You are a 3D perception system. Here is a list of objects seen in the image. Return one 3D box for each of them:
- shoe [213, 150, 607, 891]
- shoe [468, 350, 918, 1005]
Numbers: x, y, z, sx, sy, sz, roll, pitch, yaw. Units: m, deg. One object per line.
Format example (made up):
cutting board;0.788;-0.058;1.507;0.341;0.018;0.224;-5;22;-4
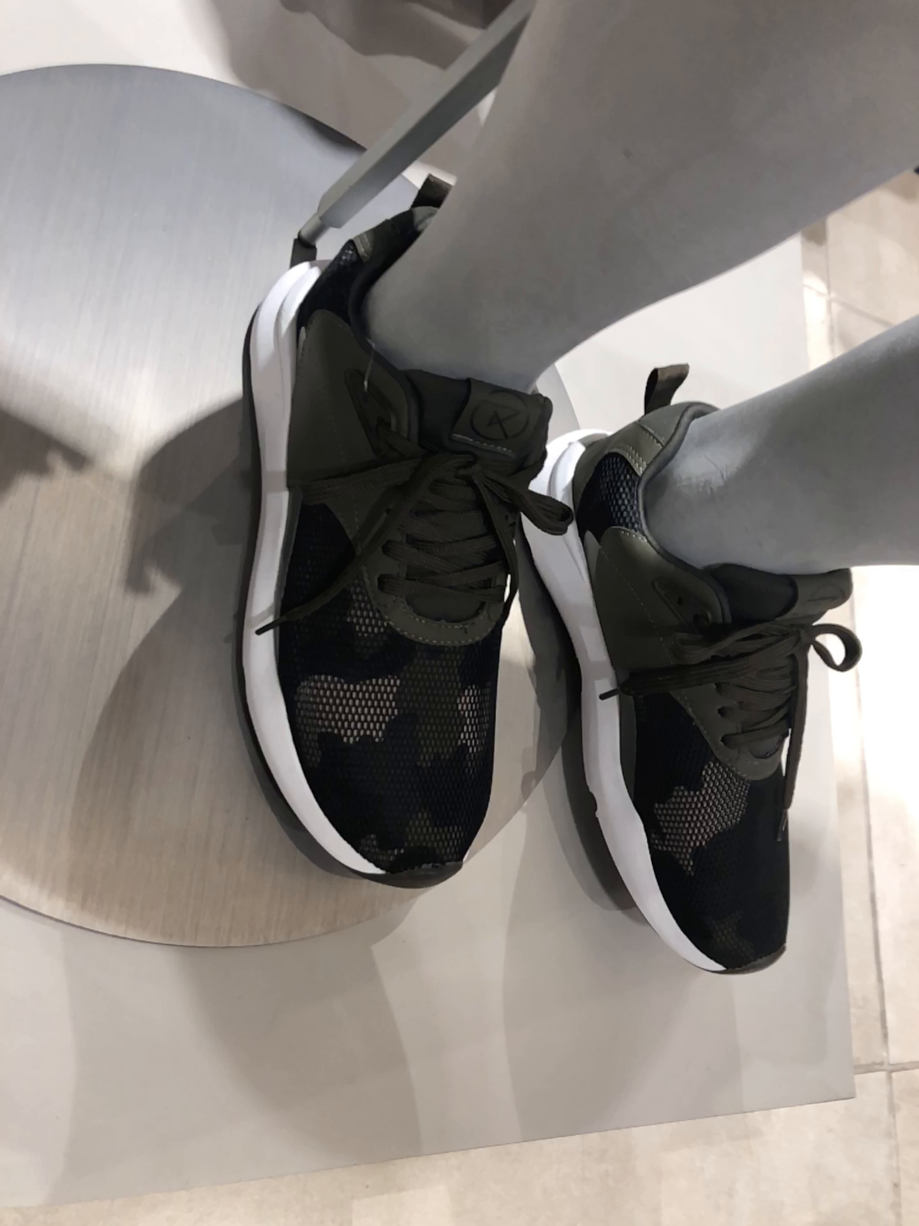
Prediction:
shoe;-0.030;-0.027;0.418;0.100;0.119;0.260;3;77;-33
shoe;0.110;0.026;0.499;0.111;0.109;0.280;-10;84;-34
